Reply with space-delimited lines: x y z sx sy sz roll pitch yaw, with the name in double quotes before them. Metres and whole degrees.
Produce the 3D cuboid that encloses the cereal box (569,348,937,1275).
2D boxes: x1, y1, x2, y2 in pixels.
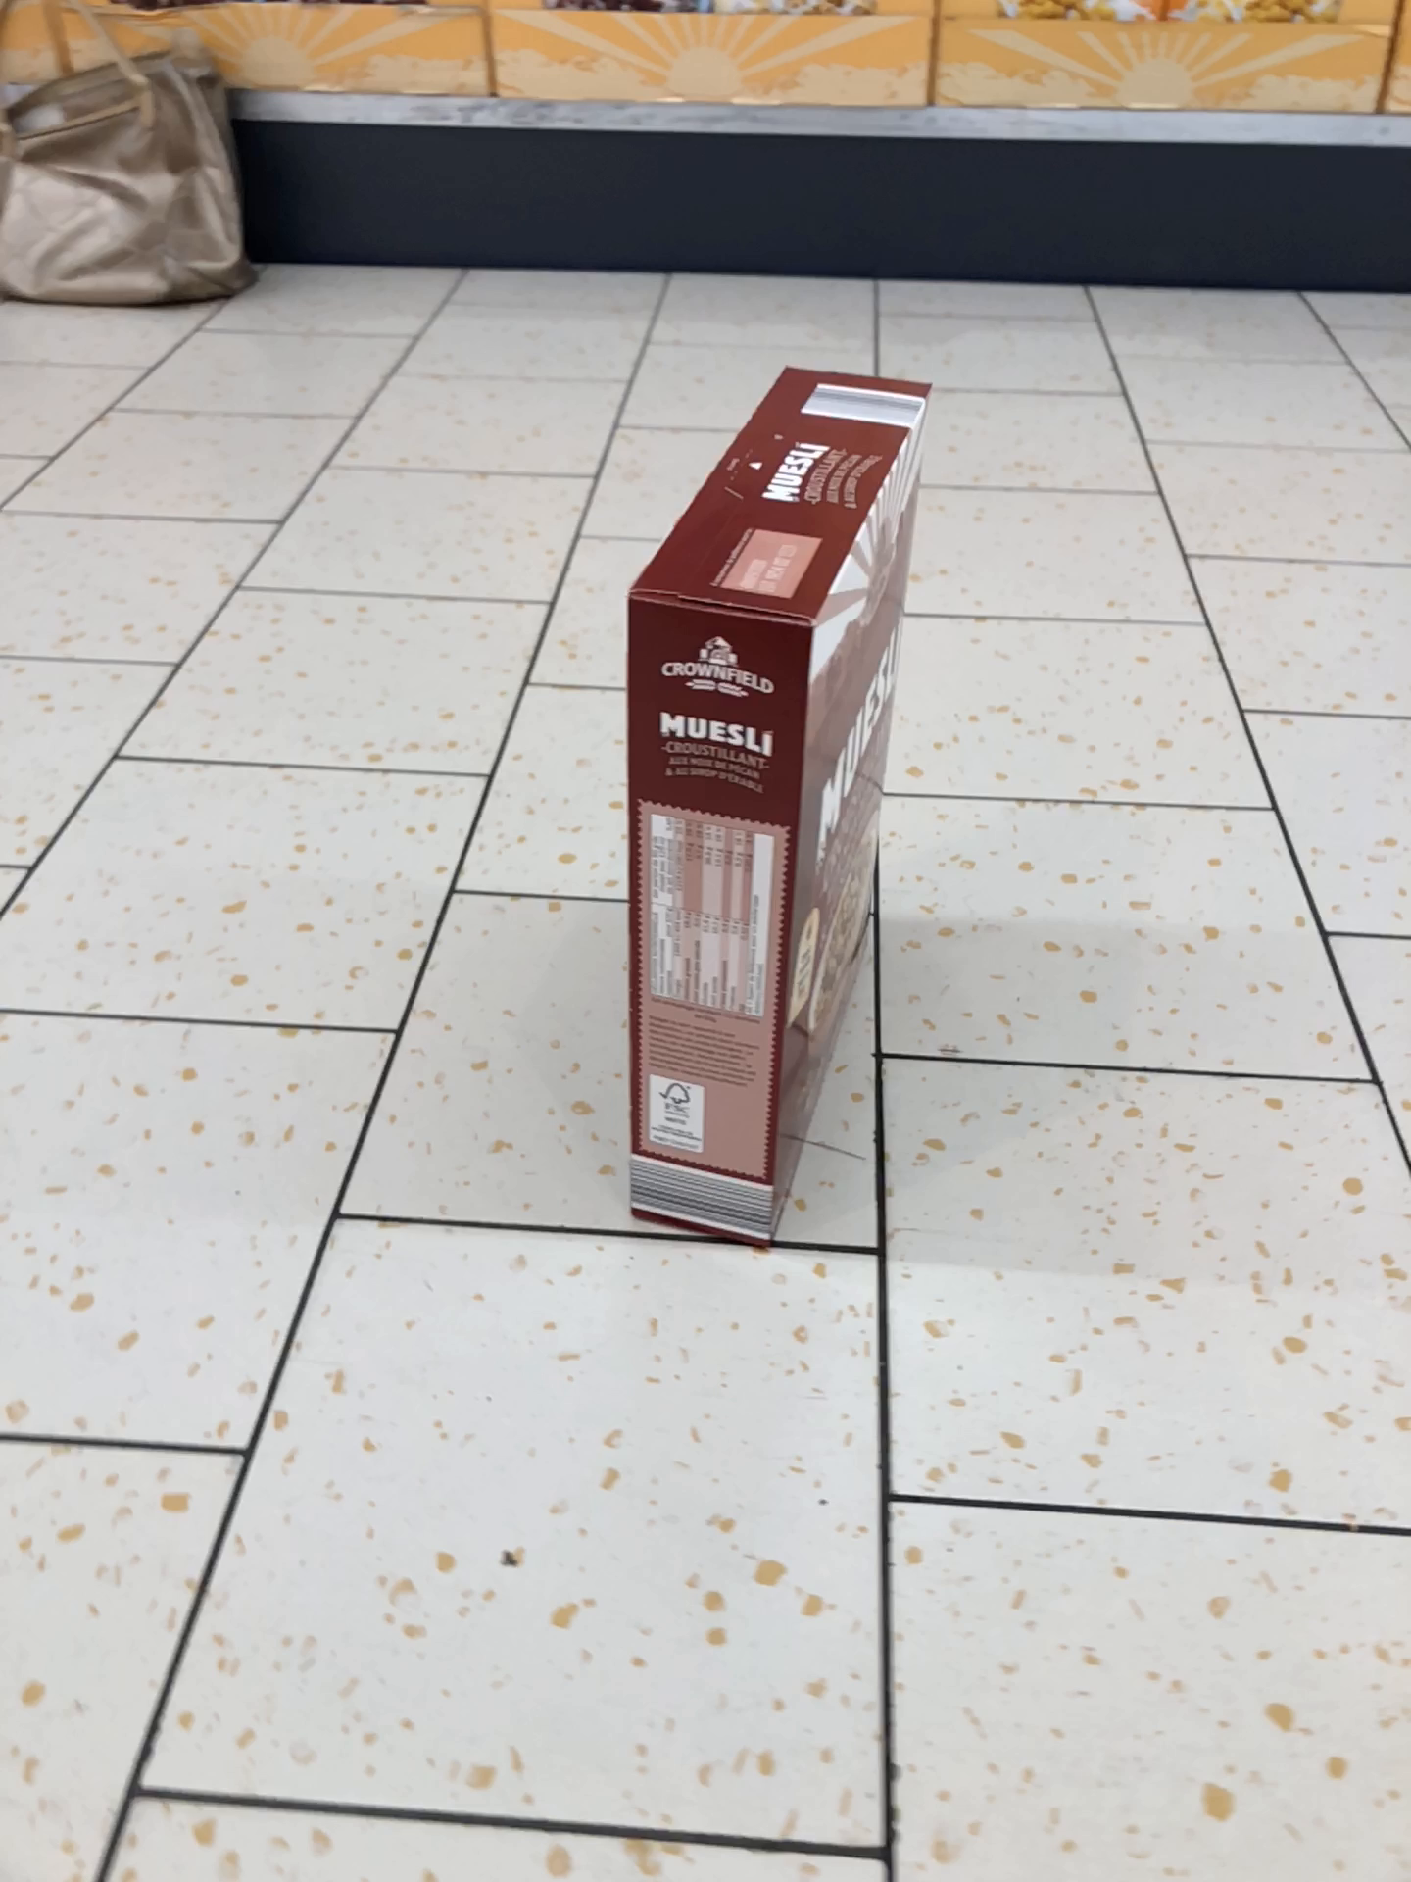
"cereal box" 0.023 -0.047 0.544 0.060 0.248 0.201 10 39 13
